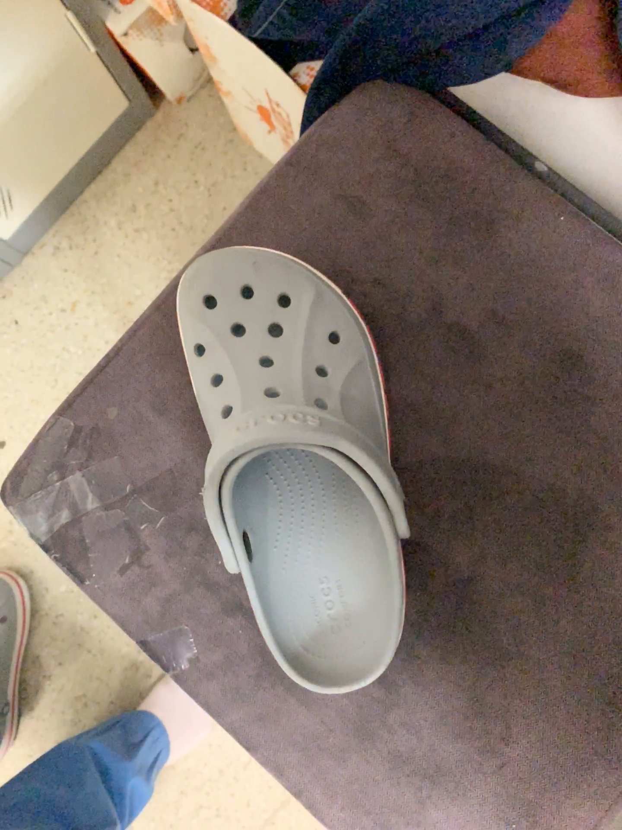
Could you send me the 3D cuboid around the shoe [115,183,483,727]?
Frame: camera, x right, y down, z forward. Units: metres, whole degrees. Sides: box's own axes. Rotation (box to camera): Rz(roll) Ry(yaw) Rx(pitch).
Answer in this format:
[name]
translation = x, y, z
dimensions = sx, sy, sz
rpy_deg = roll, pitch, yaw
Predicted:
[shoe]
translation = -0.007, 0.019, 0.347
dimensions = 0.119, 0.075, 0.239
rpy_deg = -16, 85, 4
